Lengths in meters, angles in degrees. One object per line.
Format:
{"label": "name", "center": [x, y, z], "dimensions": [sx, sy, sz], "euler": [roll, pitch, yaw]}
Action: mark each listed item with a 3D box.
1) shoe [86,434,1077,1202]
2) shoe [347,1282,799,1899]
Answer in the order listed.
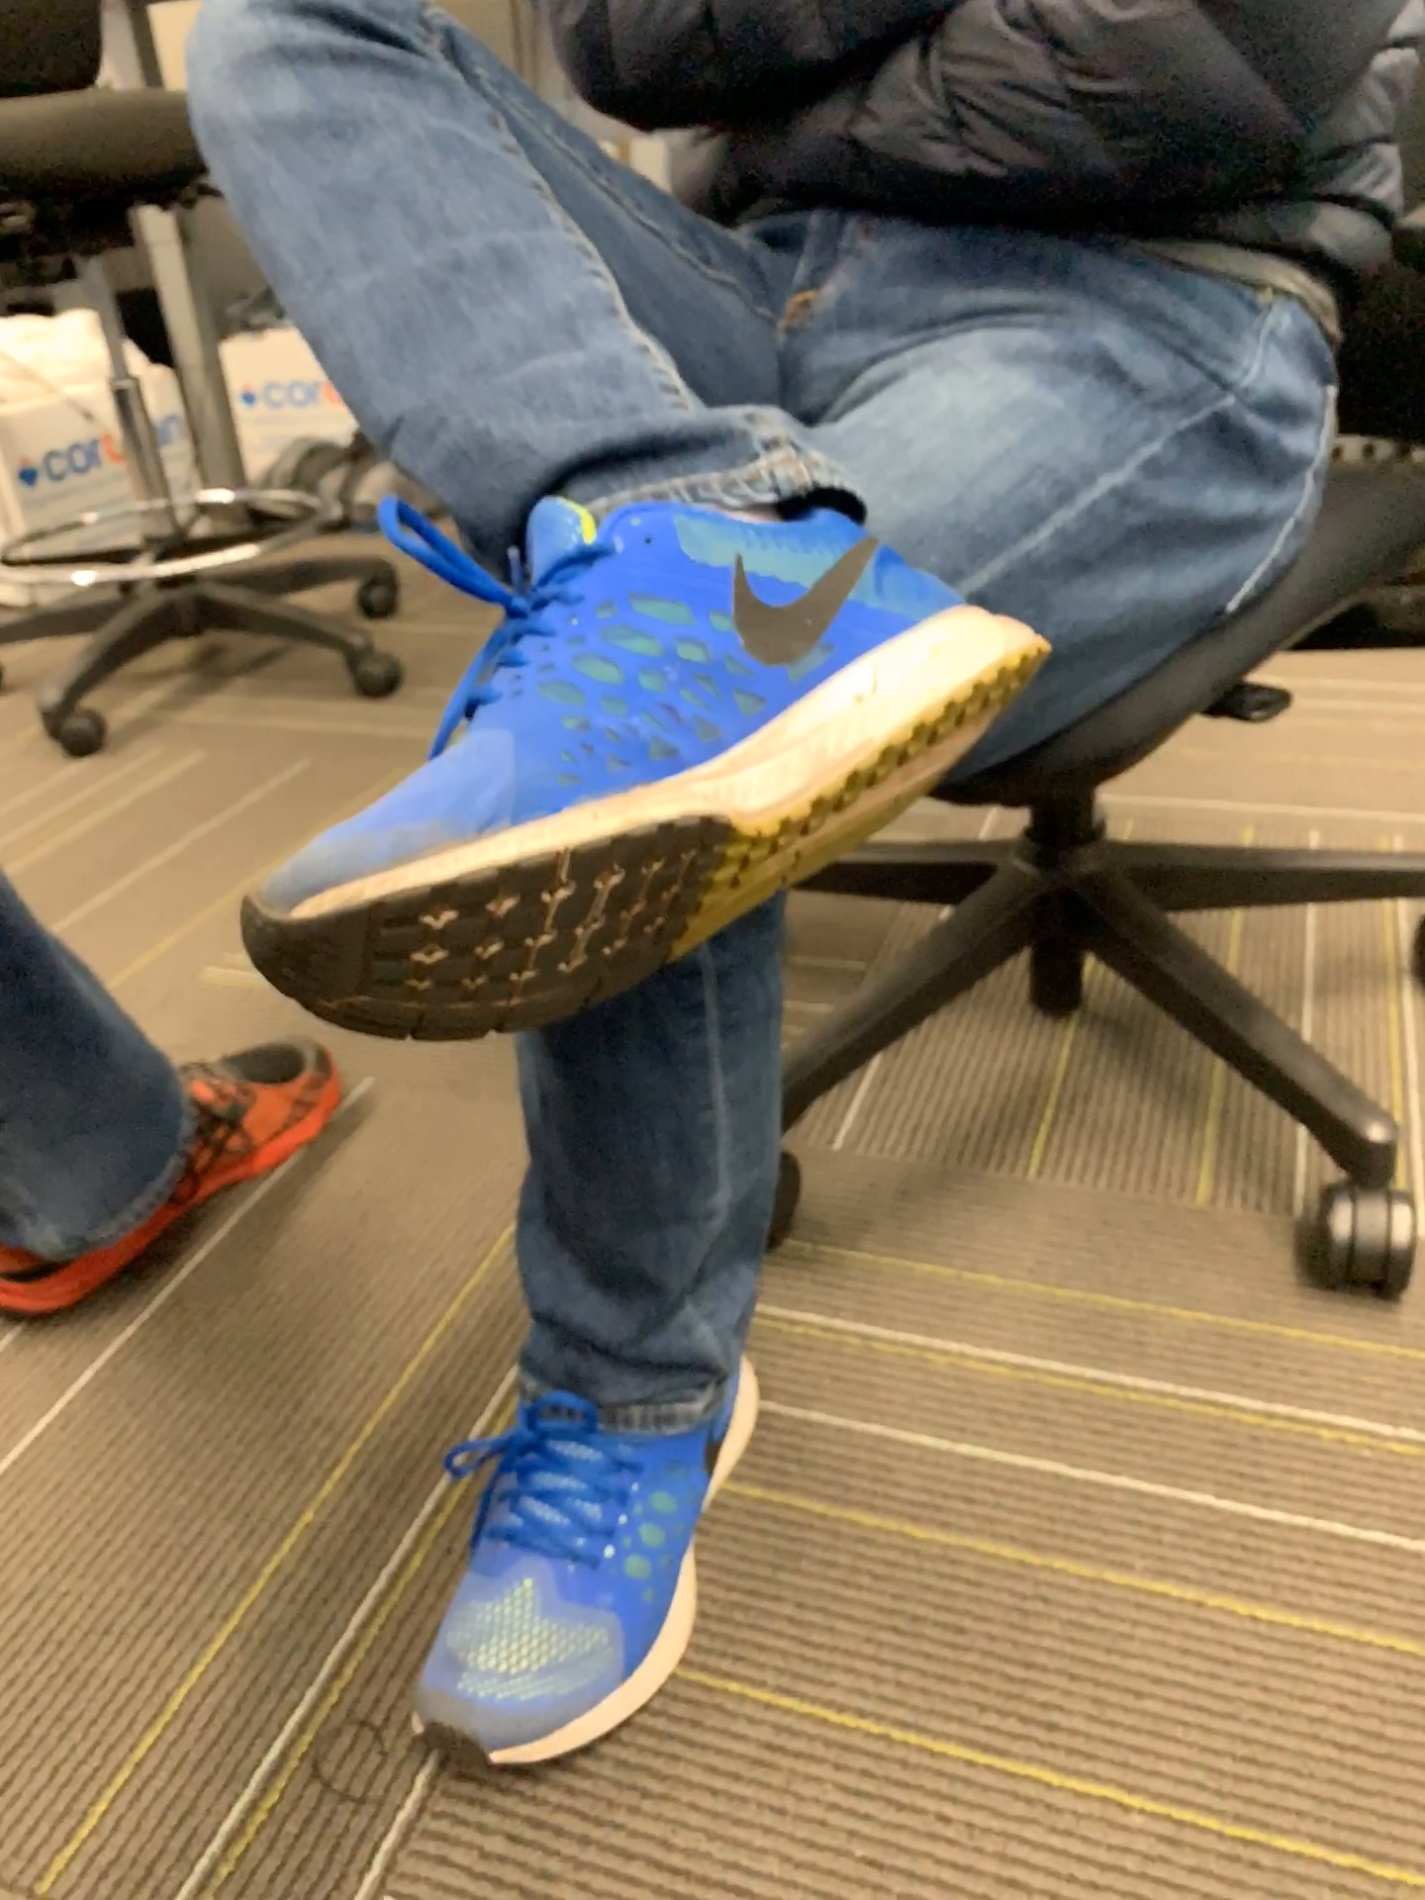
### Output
{"label": "shoe", "center": [-0.030, -0.056, 0.455], "dimensions": [0.276, 0.116, 0.104], "euler": [-27, 60, -35]}
{"label": "shoe", "center": [-0.054, 0.307, 0.761], "dimensions": [0.101, 0.086, 0.285], "euler": [8, 31, 23]}
